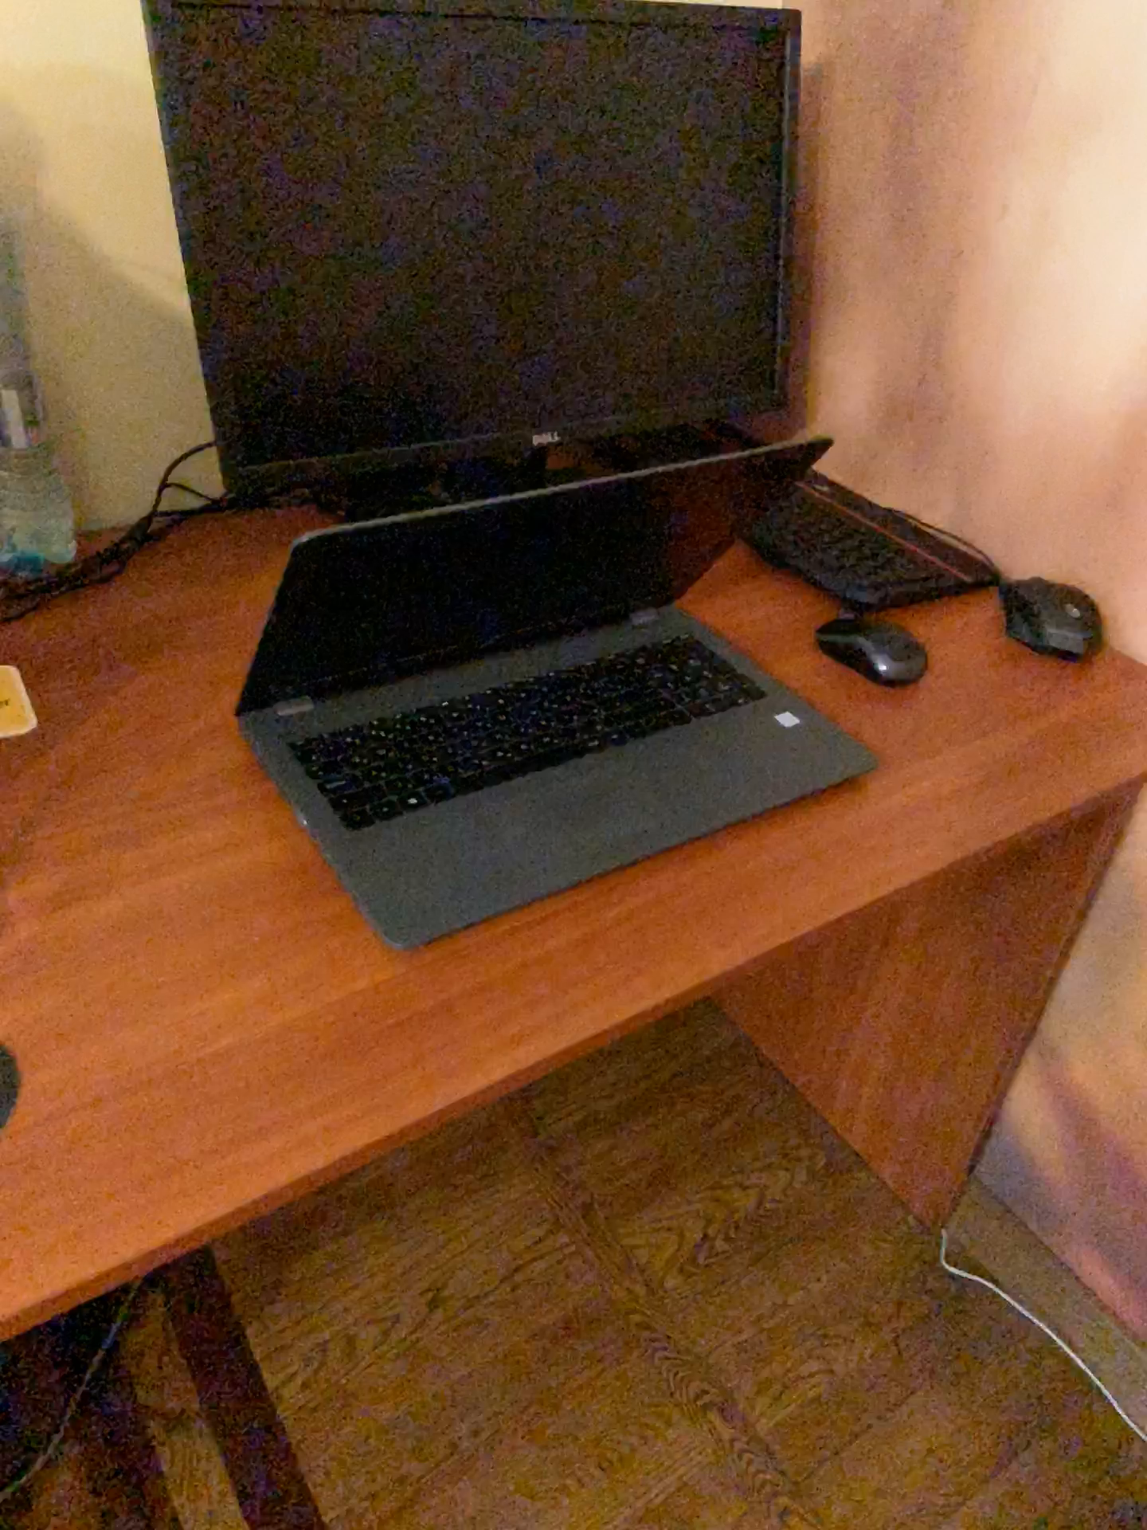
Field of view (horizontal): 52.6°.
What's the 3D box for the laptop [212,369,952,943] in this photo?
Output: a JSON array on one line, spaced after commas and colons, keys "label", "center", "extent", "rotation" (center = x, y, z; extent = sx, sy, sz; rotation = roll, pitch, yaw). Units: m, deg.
[{"label": "laptop", "center": [0.001, -0.094, 0.729], "extent": [0.360, 0.191, 0.232], "rotation": [-18, 43, -29]}]
